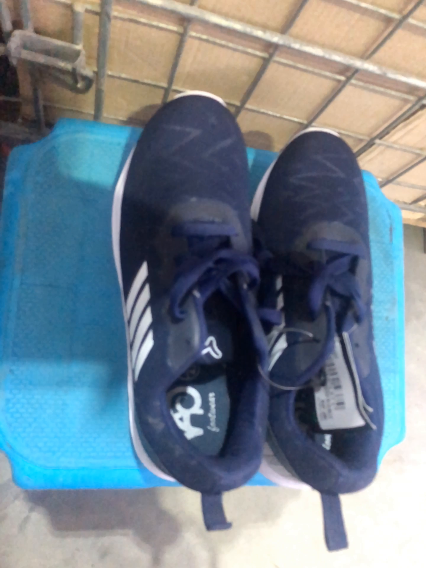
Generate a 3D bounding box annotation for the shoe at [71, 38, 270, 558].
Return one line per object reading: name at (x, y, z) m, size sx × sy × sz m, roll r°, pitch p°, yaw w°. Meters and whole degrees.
shoe at (-0.032, 0.005, 0.299) m, size 0.100 × 0.100 × 0.270 m, roll 3°, pitch 80°, yaw -16°

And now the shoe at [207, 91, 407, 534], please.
shoe at (0.061, 0.017, 0.342) m, size 0.100 × 0.100 × 0.270 m, roll 4°, pitch 80°, yaw -16°
